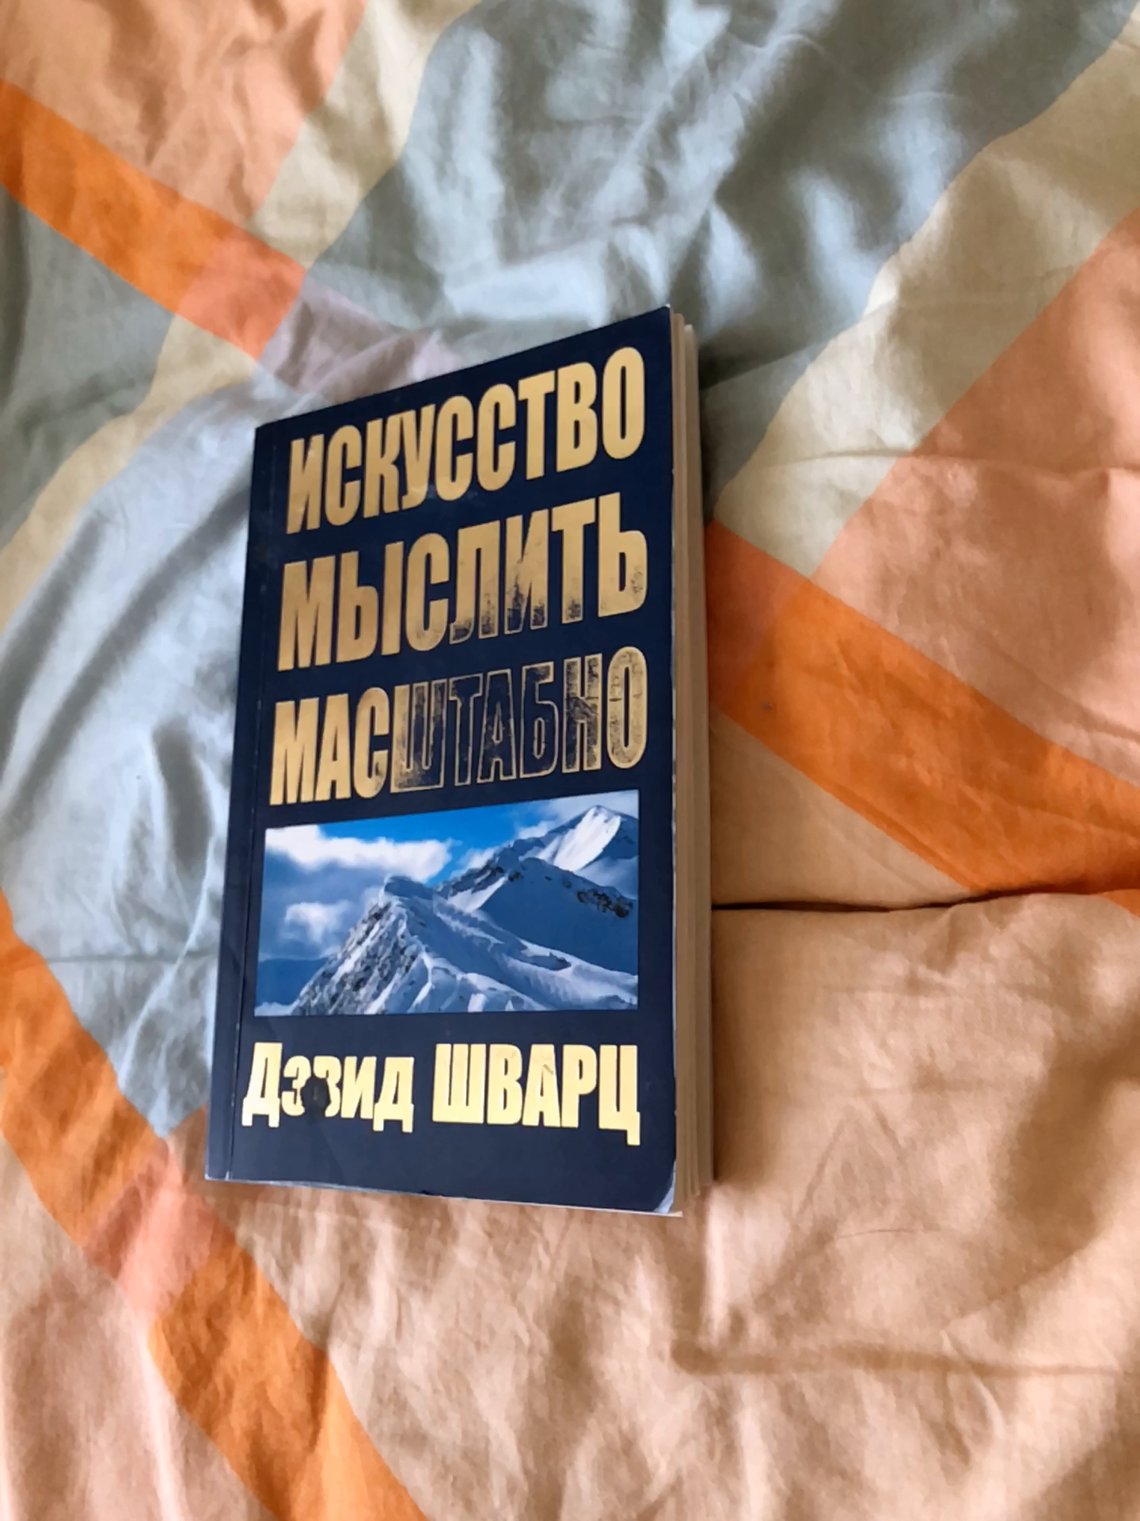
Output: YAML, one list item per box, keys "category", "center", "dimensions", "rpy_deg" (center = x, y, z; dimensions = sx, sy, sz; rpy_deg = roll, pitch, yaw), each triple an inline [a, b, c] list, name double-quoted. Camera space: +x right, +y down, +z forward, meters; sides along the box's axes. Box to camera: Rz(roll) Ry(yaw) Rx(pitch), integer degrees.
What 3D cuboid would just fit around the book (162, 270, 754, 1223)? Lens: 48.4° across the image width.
- category: "book"
  center: [-0.025, -0.002, 0.284]
  dimensions: [0.127, 0.028, 0.189]
  rpy_deg: [-7, 74, 28]
